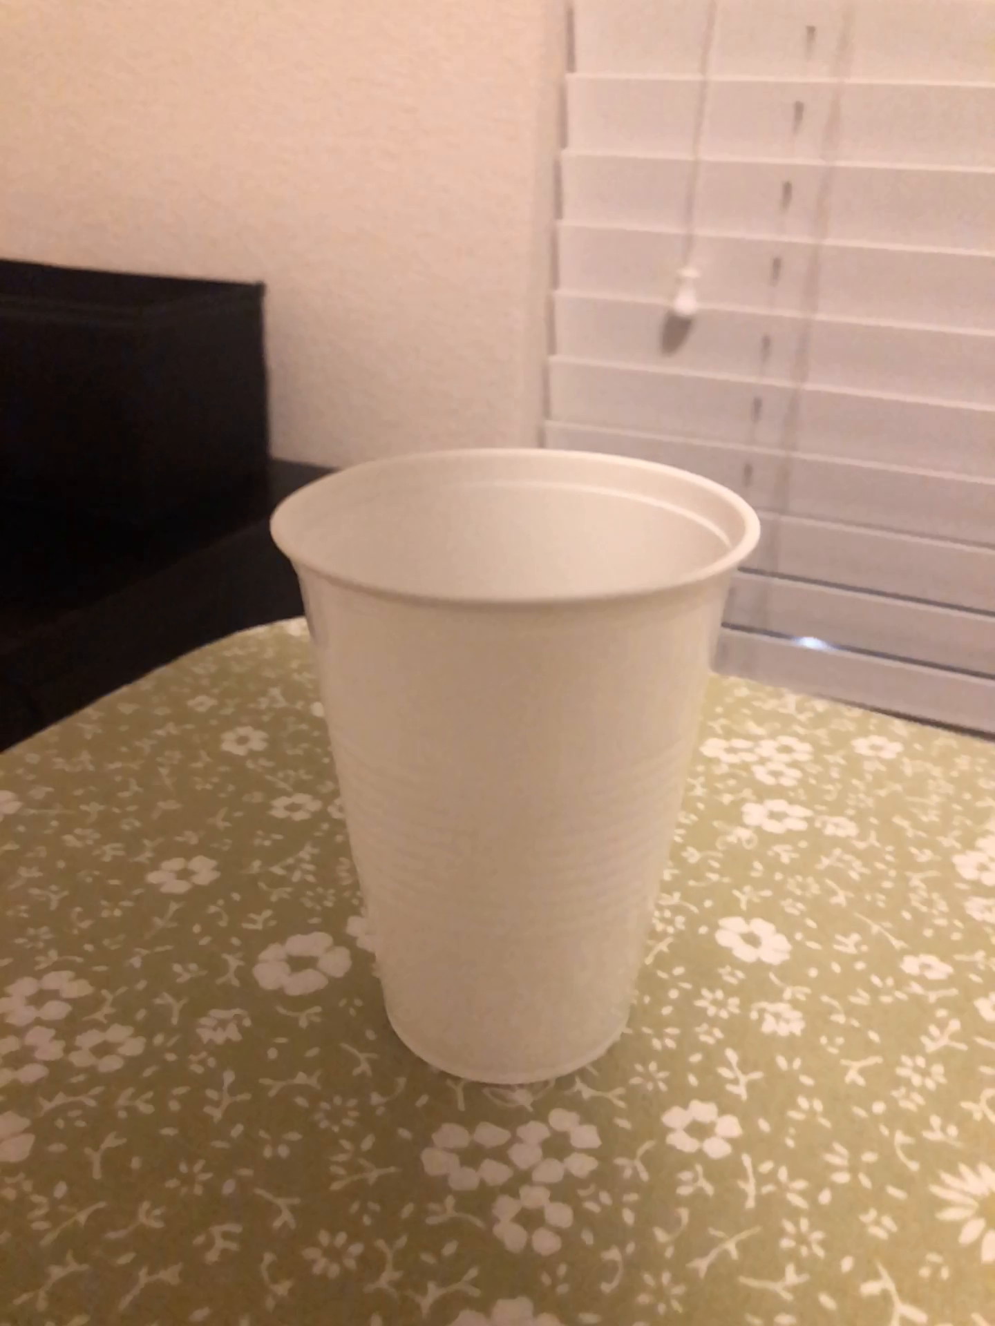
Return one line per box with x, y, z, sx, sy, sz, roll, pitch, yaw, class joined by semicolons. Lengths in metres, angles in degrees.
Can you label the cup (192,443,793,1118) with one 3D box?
0.001;0.015;0.198;0.078;0.090;0.078;0;24;0;cup
